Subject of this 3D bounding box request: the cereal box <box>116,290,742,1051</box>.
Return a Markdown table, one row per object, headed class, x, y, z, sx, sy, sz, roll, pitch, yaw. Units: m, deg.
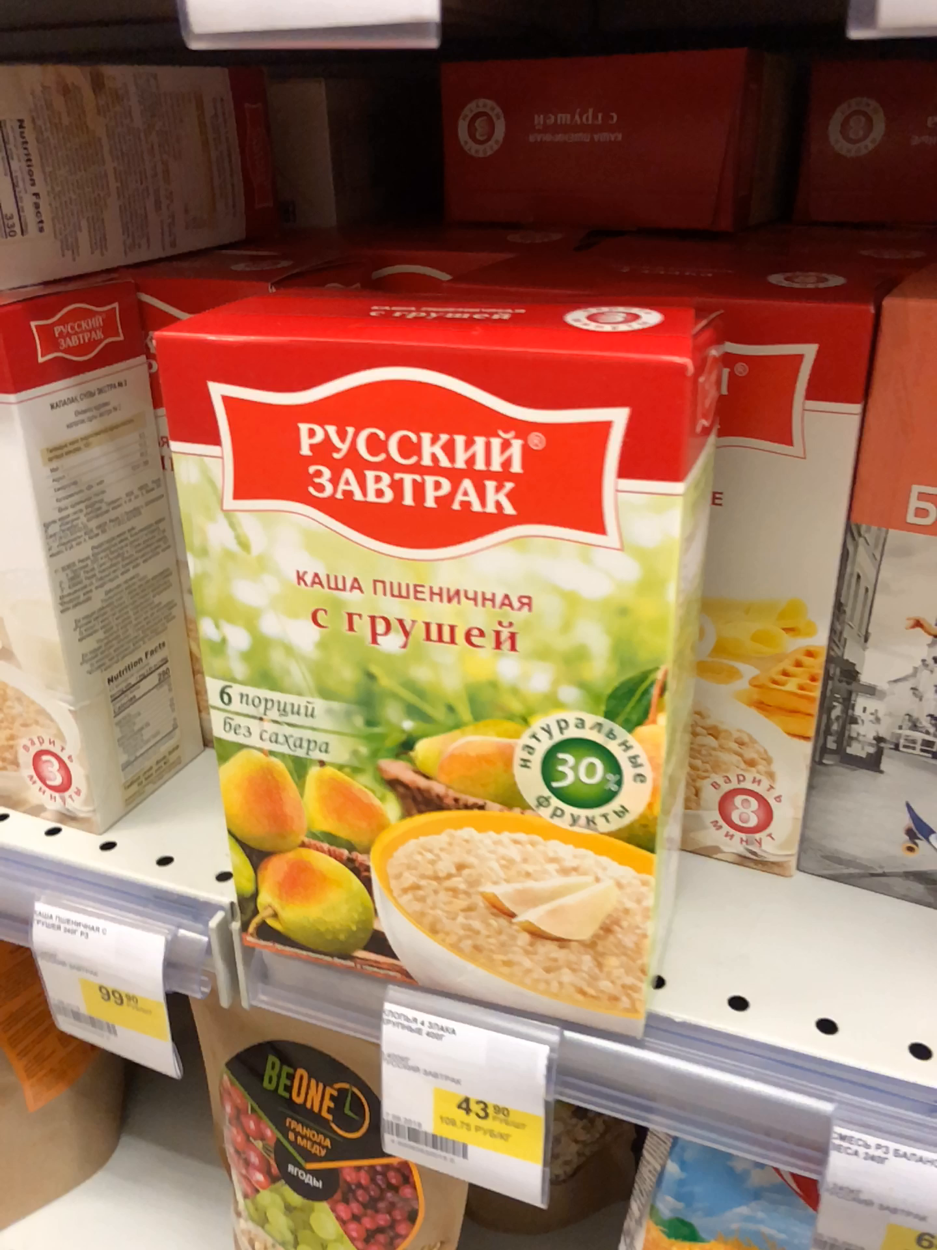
| class | x | y | z | sx | sy | sz | roll | pitch | yaw |
| --- | --- | --- | --- | --- | --- | --- | --- | --- | --- |
| cereal box | -0.007 | 0.011 | 0.292 | 0.140 | 0.189 | 0.060 | 8 | 27 | 18 |
